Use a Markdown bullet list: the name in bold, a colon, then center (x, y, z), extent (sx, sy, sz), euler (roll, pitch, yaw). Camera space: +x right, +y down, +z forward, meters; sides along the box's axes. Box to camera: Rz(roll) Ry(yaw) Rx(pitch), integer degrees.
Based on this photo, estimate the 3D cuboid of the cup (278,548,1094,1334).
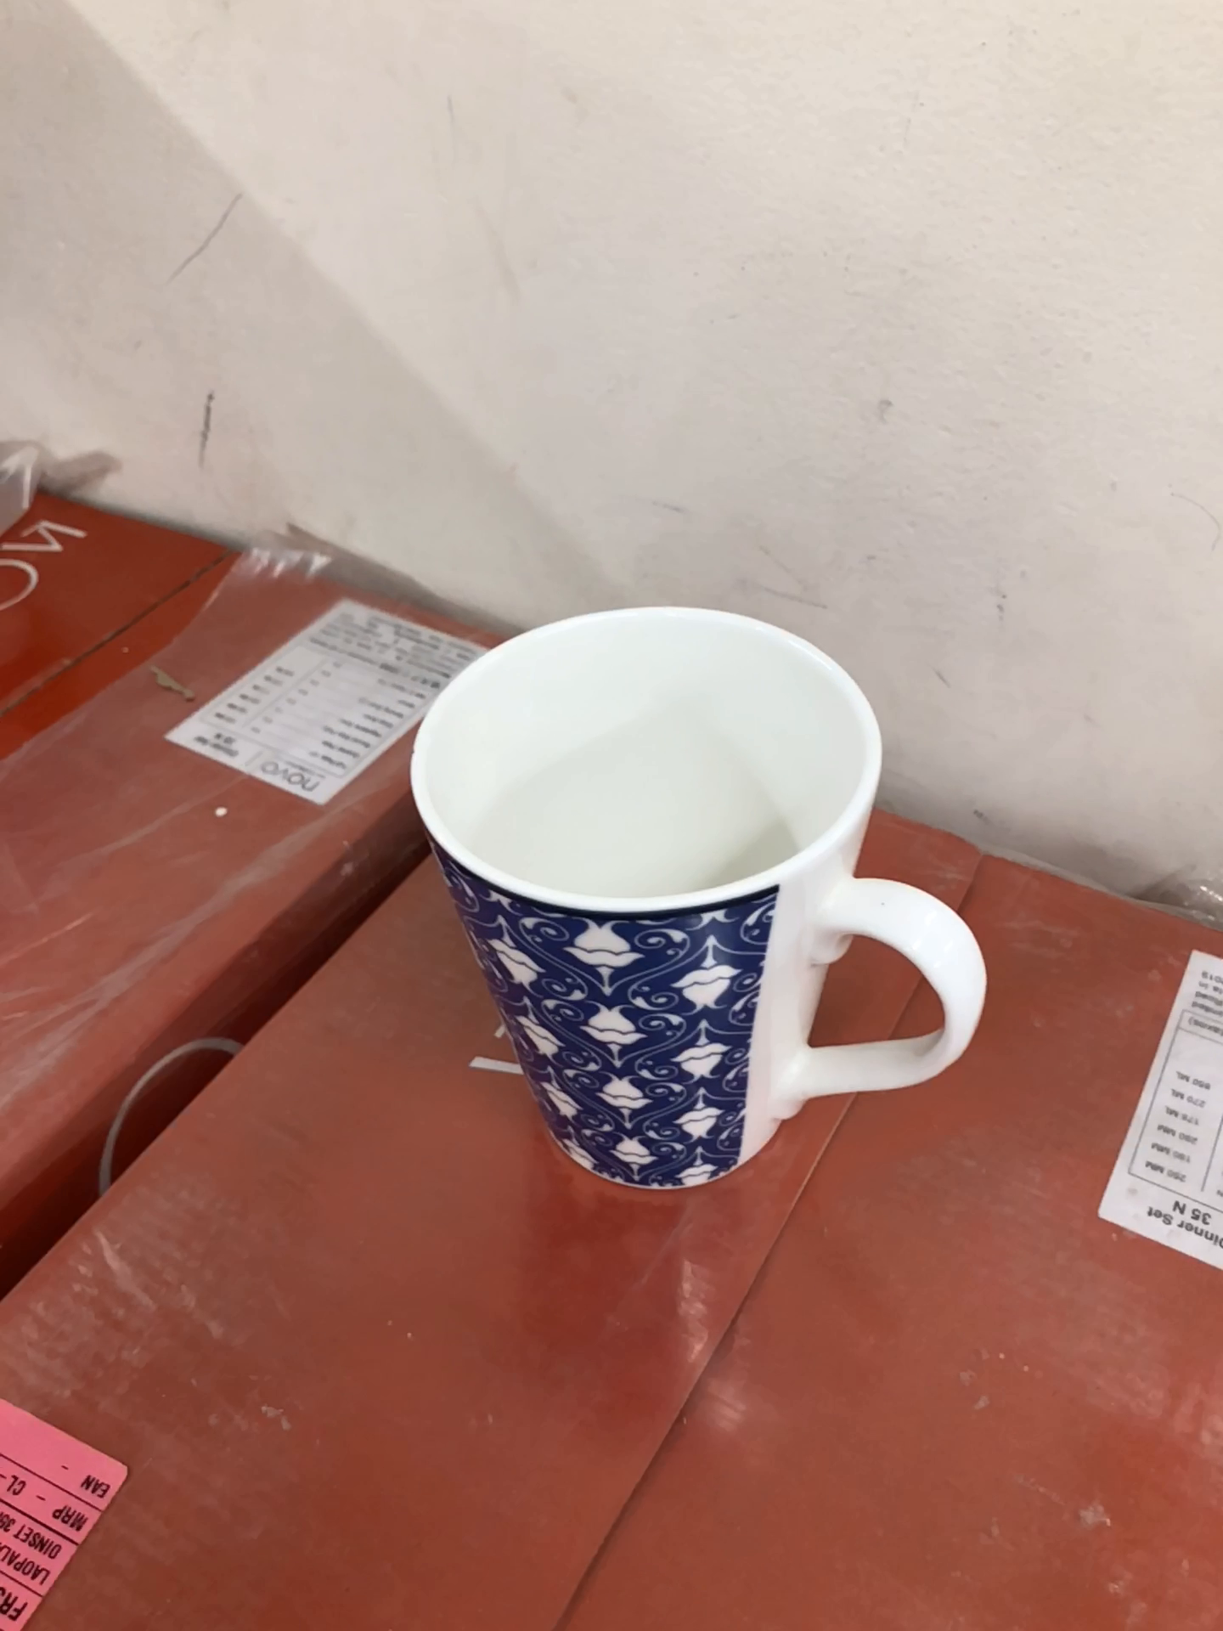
- **cup**: center (0.017, 0.021, 0.270), extent (0.120, 0.099, 0.081), euler (15, 46, 19)
